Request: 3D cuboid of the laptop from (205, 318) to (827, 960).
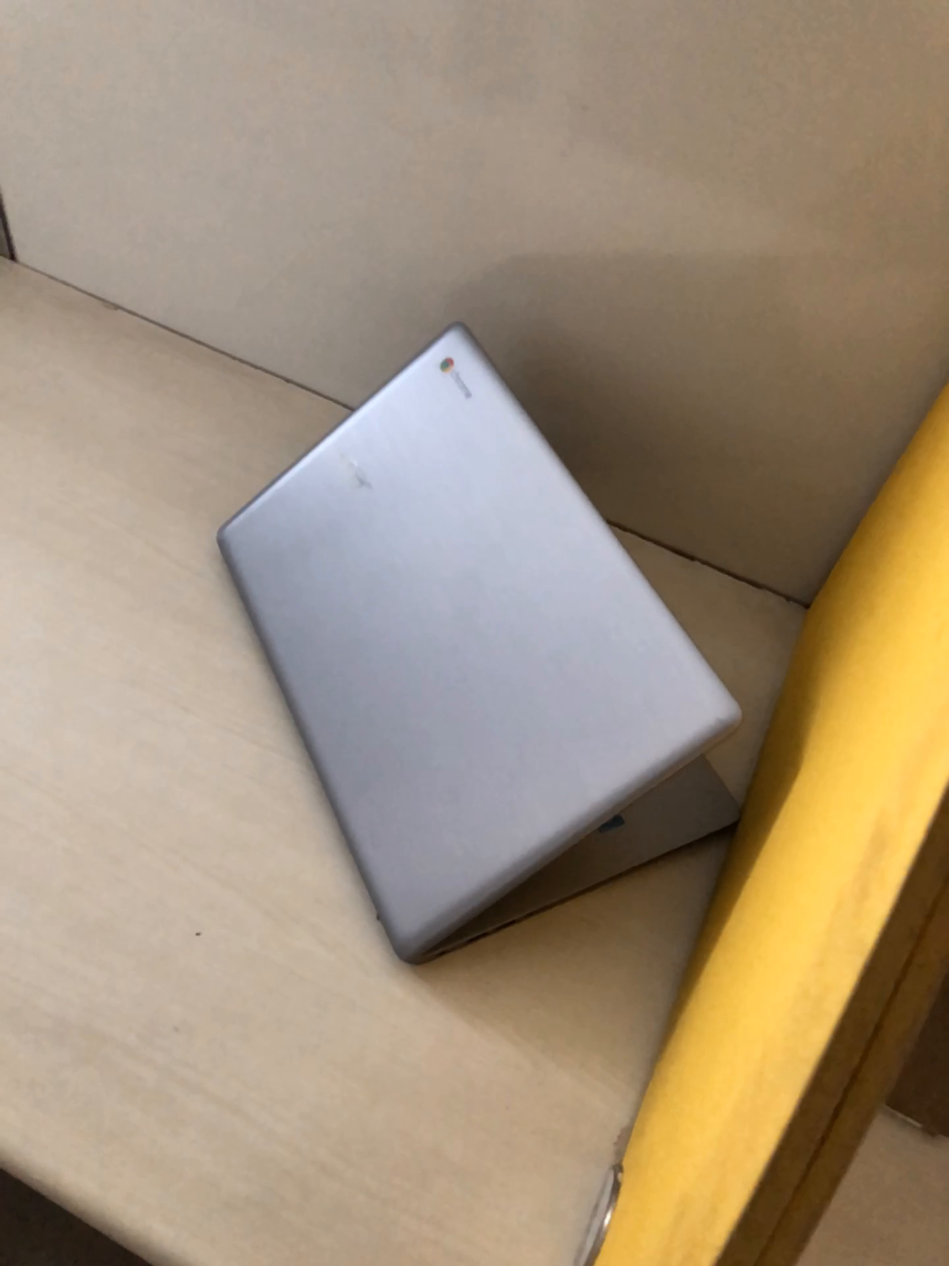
[{"bbox_3d":[0.002,-0.016,0.616,0.221,0.135,0.316,-18,58,-20],"label":"laptop"}]
